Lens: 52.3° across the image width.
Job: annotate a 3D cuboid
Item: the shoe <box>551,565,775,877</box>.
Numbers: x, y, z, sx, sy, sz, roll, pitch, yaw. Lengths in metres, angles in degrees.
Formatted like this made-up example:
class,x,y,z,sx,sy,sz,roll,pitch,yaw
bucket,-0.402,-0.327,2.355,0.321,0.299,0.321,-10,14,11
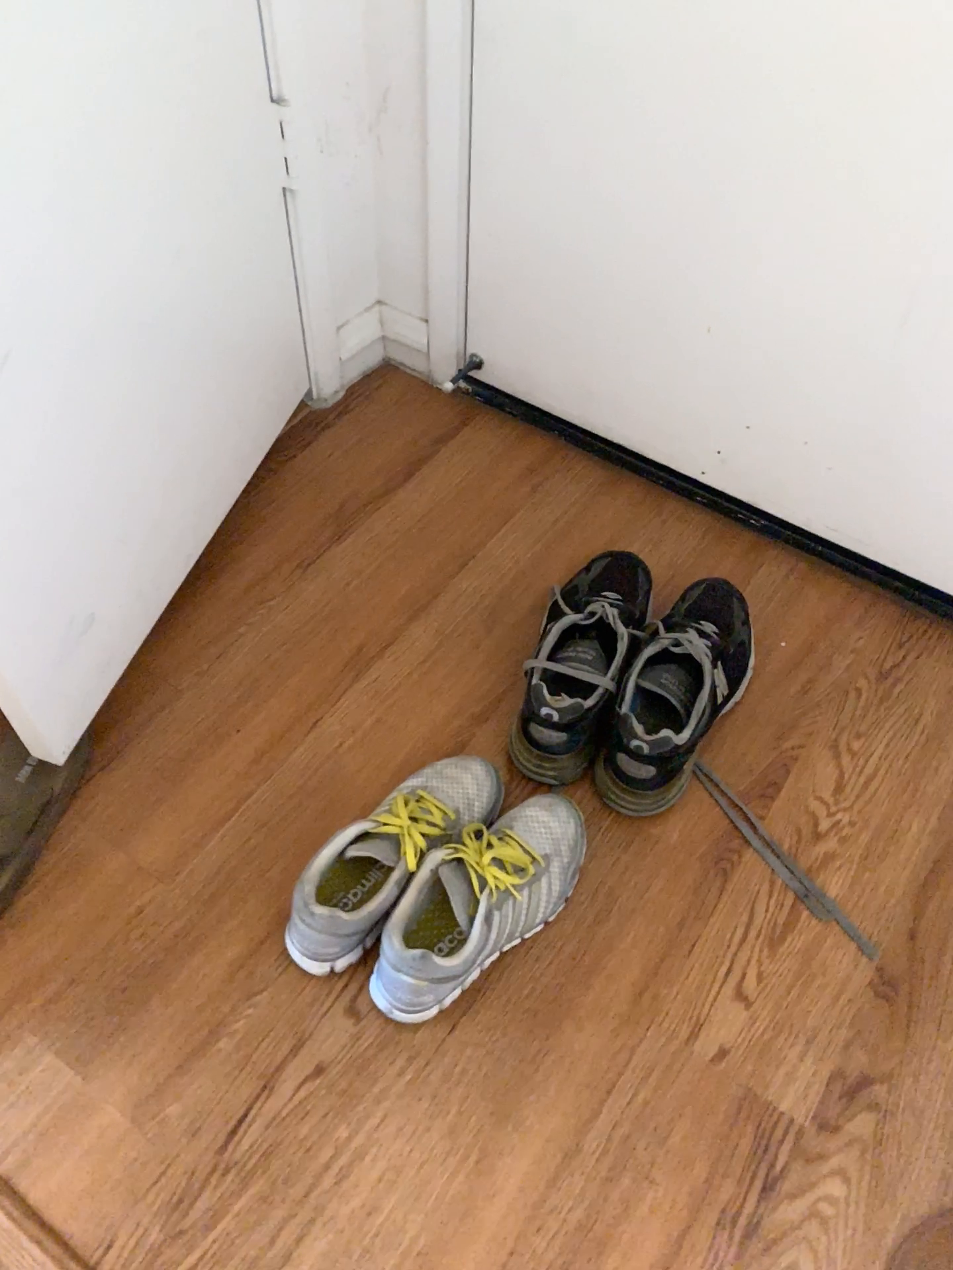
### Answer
class,x,y,z,sx,sy,sz,roll,pitch,yaw
shoe,0.210,0.093,1.091,0.100,0.169,0.301,28,56,13

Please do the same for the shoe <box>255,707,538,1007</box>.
class,x,y,z,sx,sy,sz,roll,pitch,yaw
shoe,-0.072,0.205,0.894,0.260,0.169,0.070,-38,71,-26

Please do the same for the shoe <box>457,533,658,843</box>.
class,x,y,z,sx,sy,sz,roll,pitch,yaw
shoe,0.096,0.057,1.134,0.100,0.169,0.311,24,55,10

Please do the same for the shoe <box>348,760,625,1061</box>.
class,x,y,z,sx,sy,sz,roll,pitch,yaw
shoe,0.005,0.260,0.914,0.250,0.169,0.090,-38,70,-26
